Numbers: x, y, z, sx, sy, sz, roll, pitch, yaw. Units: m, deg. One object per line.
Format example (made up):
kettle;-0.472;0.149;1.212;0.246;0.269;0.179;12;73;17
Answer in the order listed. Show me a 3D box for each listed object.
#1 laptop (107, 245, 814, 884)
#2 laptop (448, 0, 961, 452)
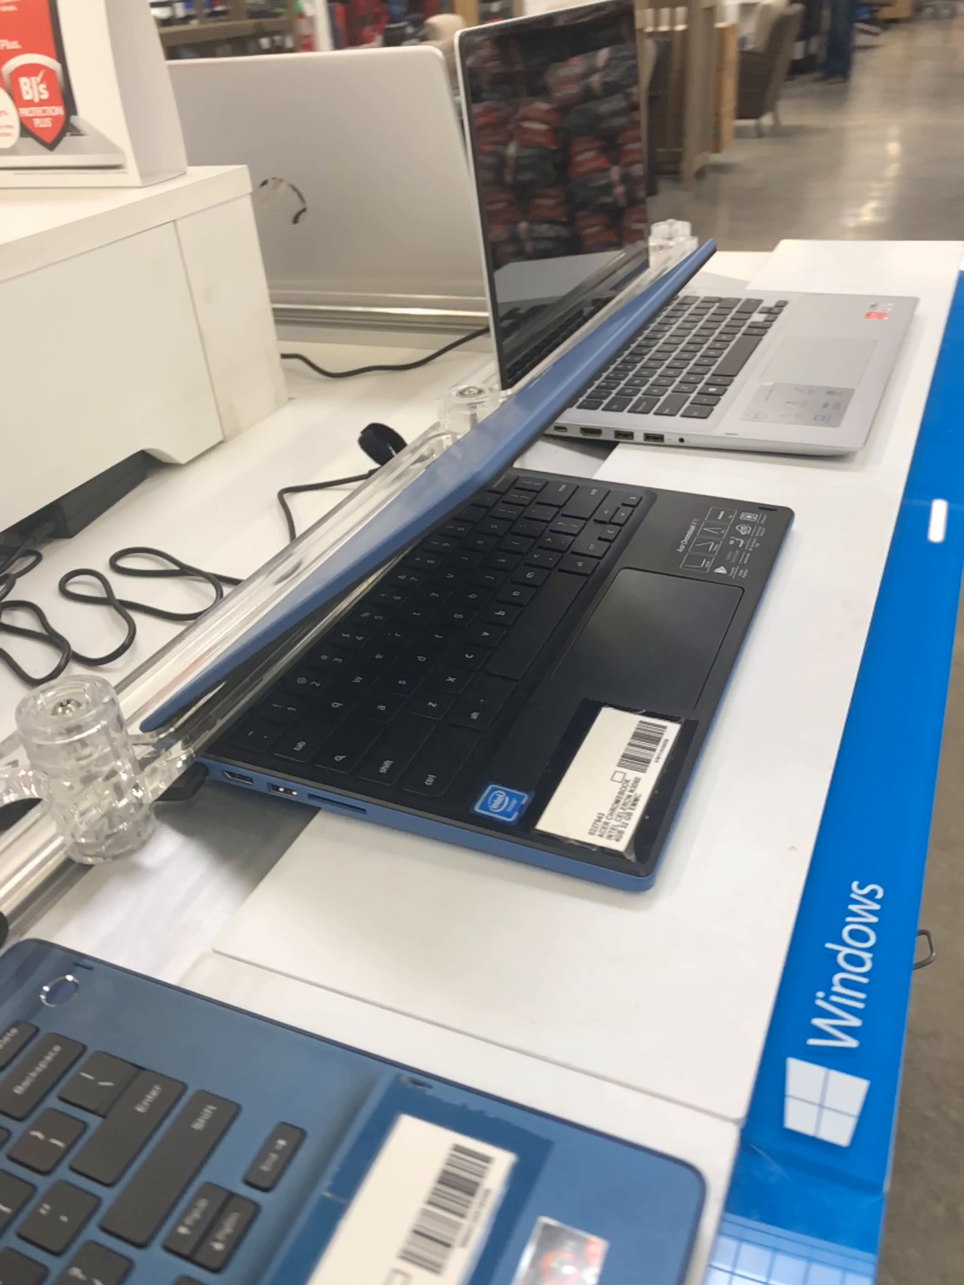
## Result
laptop;0.023;-0.065;0.445;0.184;0.128;0.281;10;34;19
laptop;0.174;-0.317;0.744;0.246;0.216;0.356;11;35;21
